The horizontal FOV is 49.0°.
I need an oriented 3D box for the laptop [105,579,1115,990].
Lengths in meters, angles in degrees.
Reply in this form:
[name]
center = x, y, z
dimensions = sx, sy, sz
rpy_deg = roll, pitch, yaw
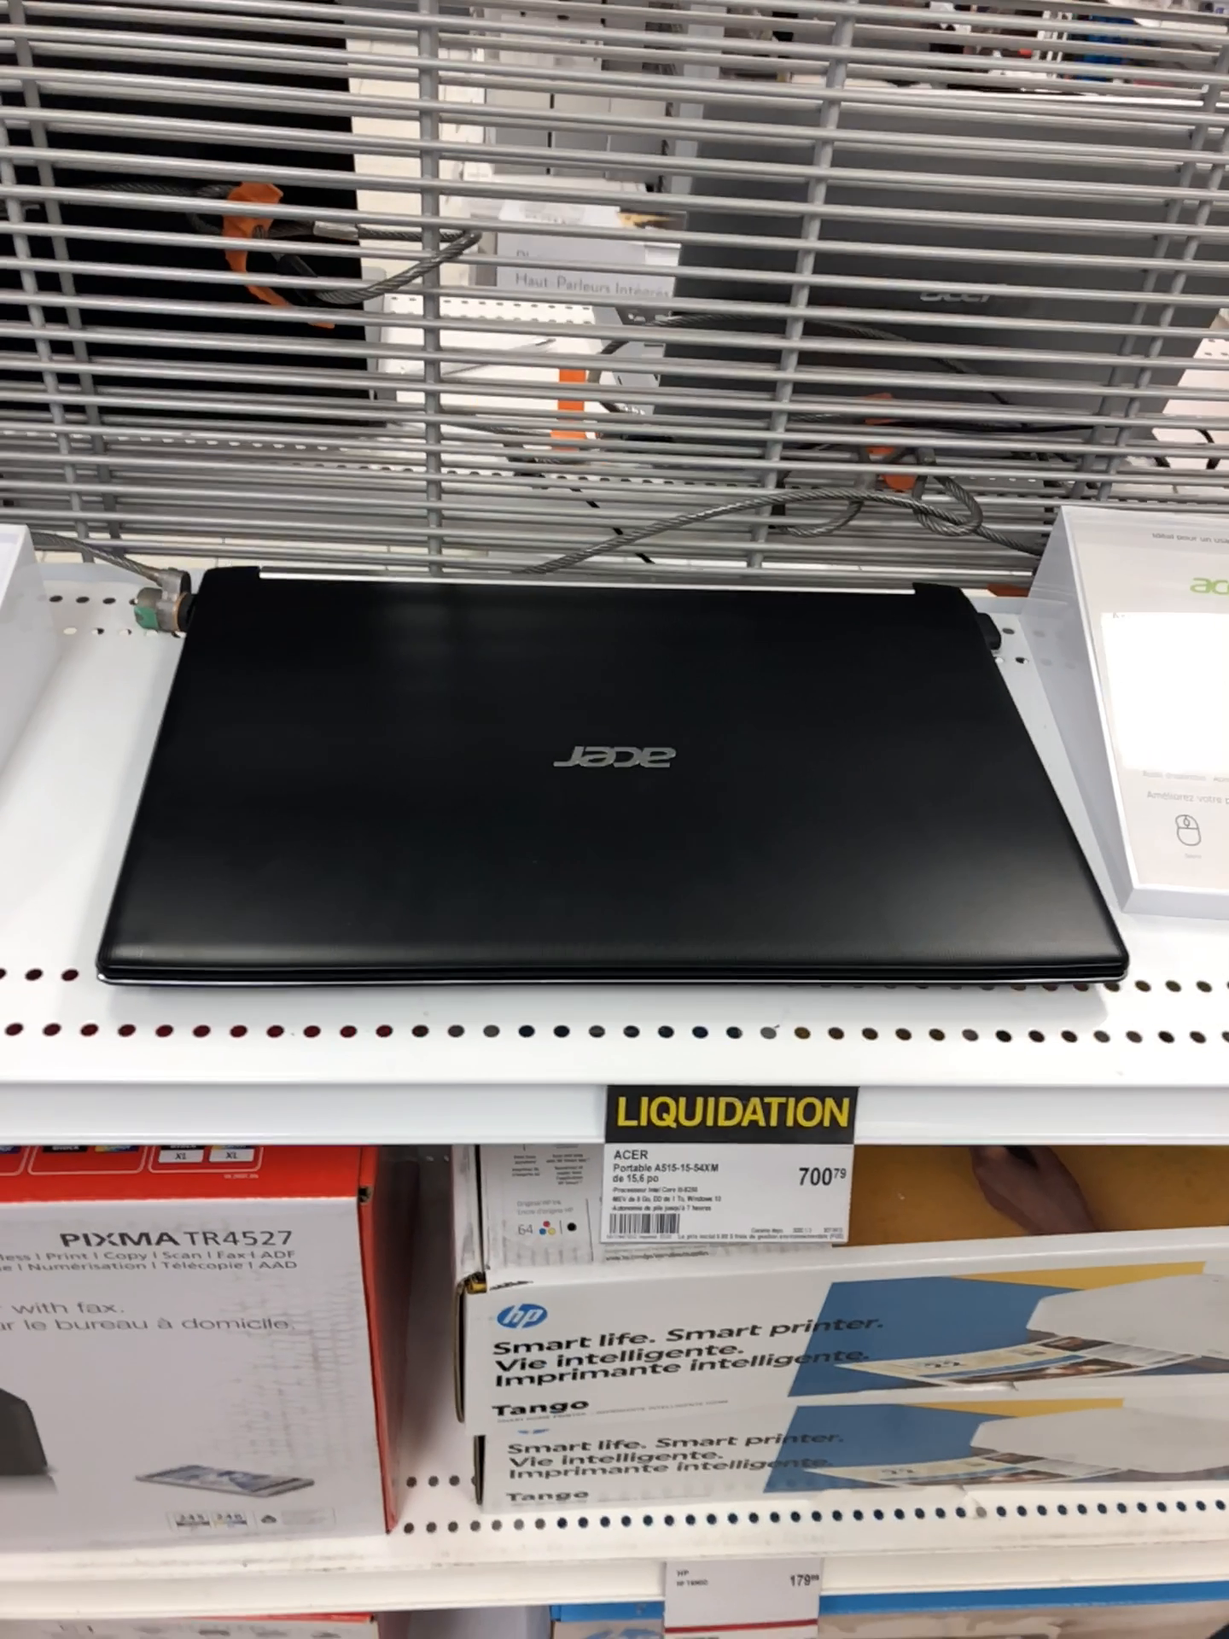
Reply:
[laptop]
center = 0.000, -0.025, 0.564
dimensions = 0.361, 0.012, 0.228
rpy_deg = 0, 45, -7
